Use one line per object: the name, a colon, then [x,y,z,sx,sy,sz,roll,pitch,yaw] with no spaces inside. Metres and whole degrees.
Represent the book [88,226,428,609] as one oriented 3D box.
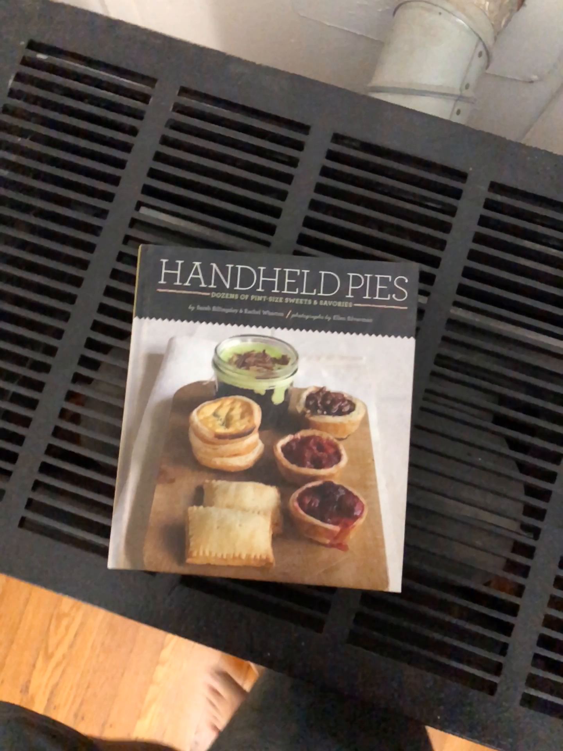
book: [-0.012,0.023,0.406,0.200,0.020,0.230,4,83,3]
